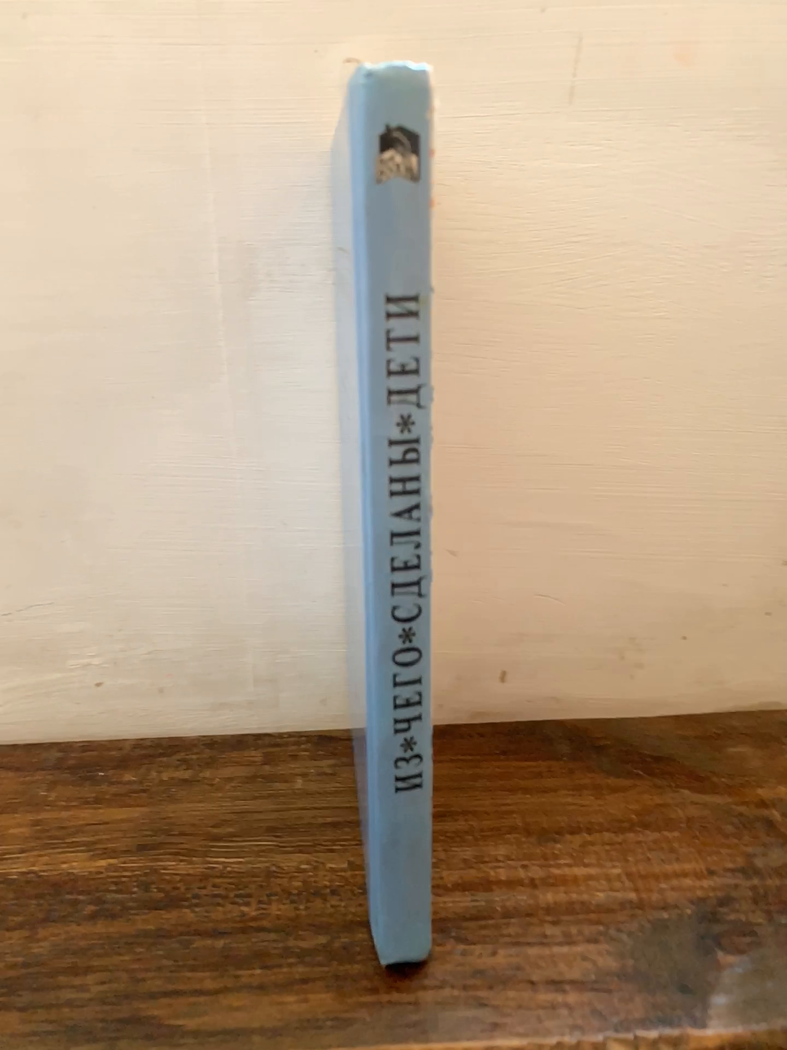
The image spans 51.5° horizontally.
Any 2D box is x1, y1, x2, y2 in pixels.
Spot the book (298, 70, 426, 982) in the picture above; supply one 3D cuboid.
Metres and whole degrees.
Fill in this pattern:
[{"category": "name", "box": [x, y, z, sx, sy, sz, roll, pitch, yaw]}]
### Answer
[{"category": "book", "box": [-0.010, -0.005, 0.227, 0.020, 0.195, 0.131, -3, 19, -5]}]
